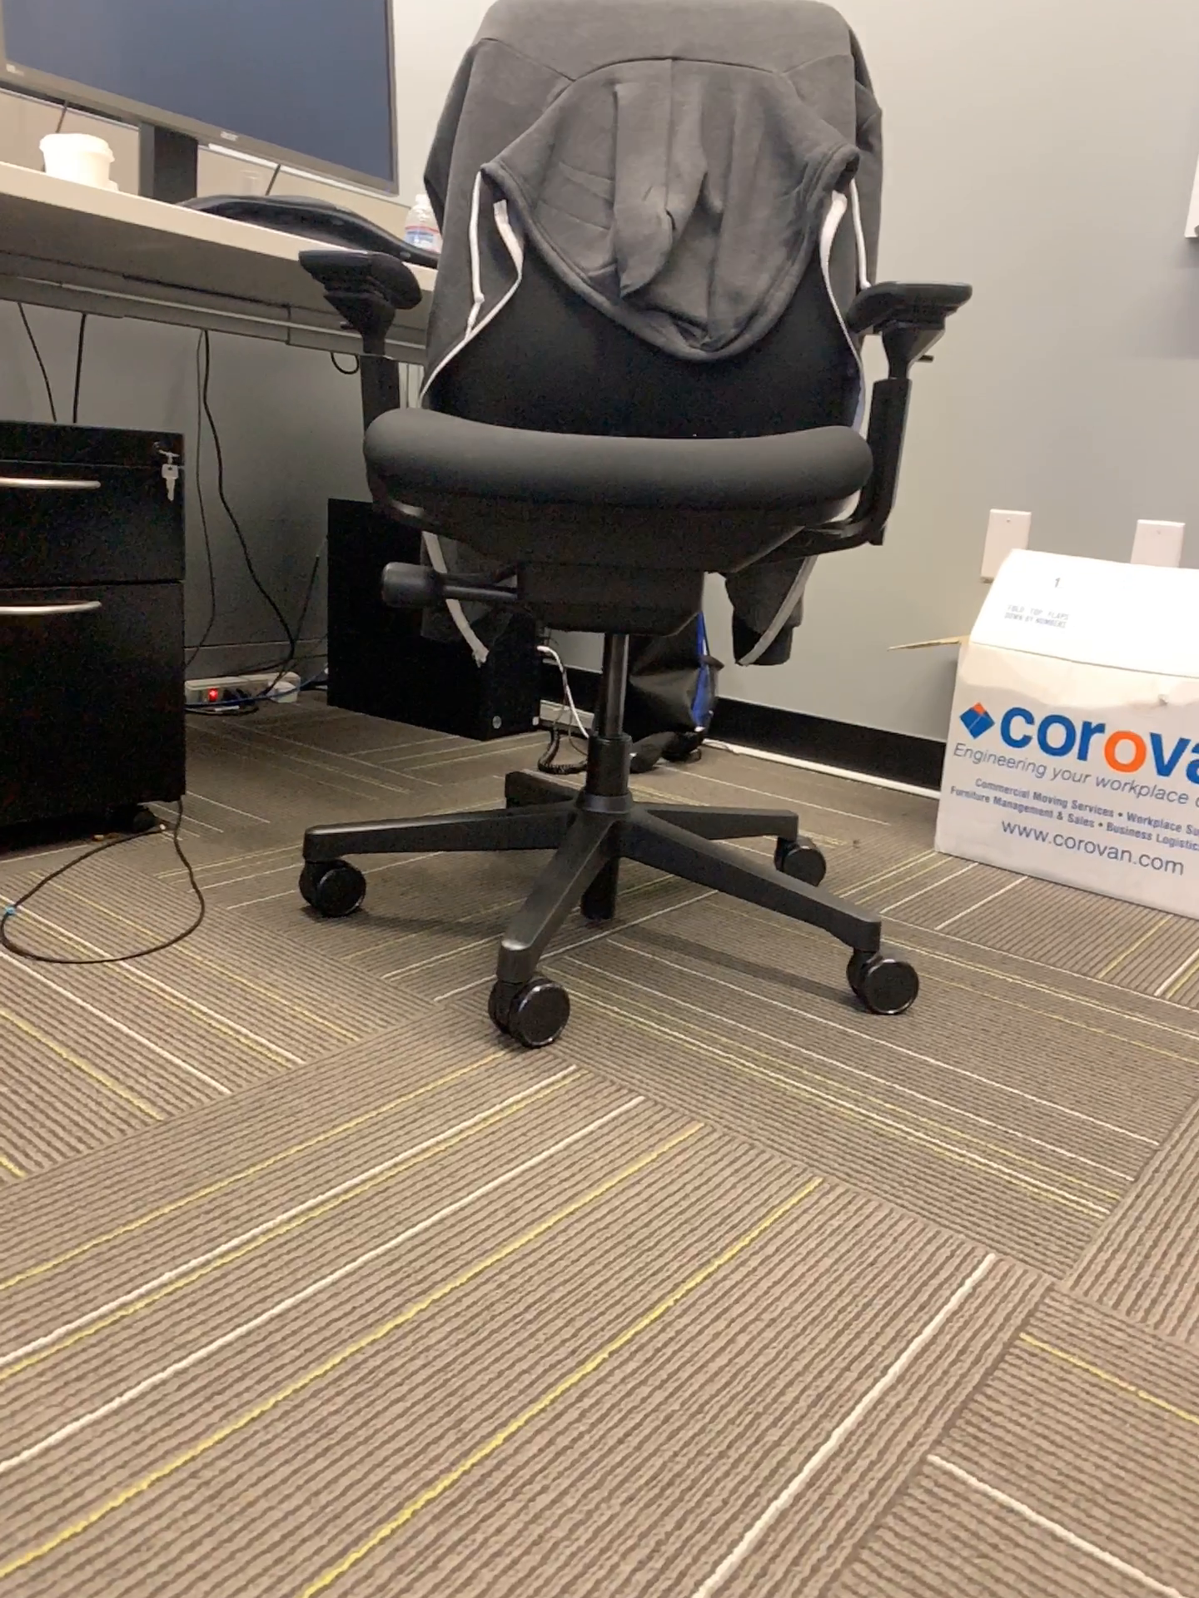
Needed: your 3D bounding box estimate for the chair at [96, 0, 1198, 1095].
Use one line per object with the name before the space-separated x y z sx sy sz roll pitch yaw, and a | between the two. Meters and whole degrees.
chair | 0.023 -0.412 1.373 0.750 1.076 0.883 5 14 4
